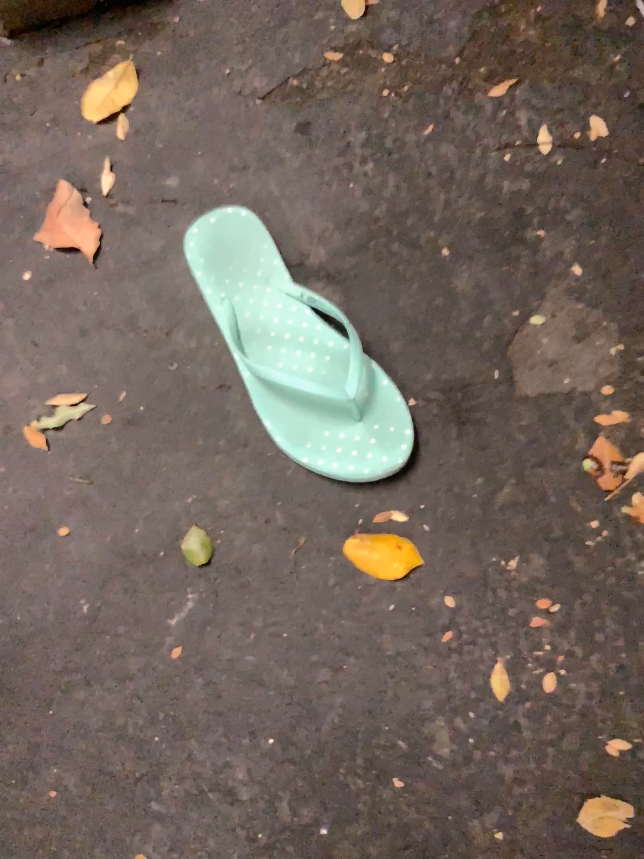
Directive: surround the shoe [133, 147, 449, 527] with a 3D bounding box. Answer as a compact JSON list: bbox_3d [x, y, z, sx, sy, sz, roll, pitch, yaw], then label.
[{"bbox_3d":[-0.029,-0.077,0.574,0.120,0.050,0.280,-29,78,-8],"label":"shoe"}]
